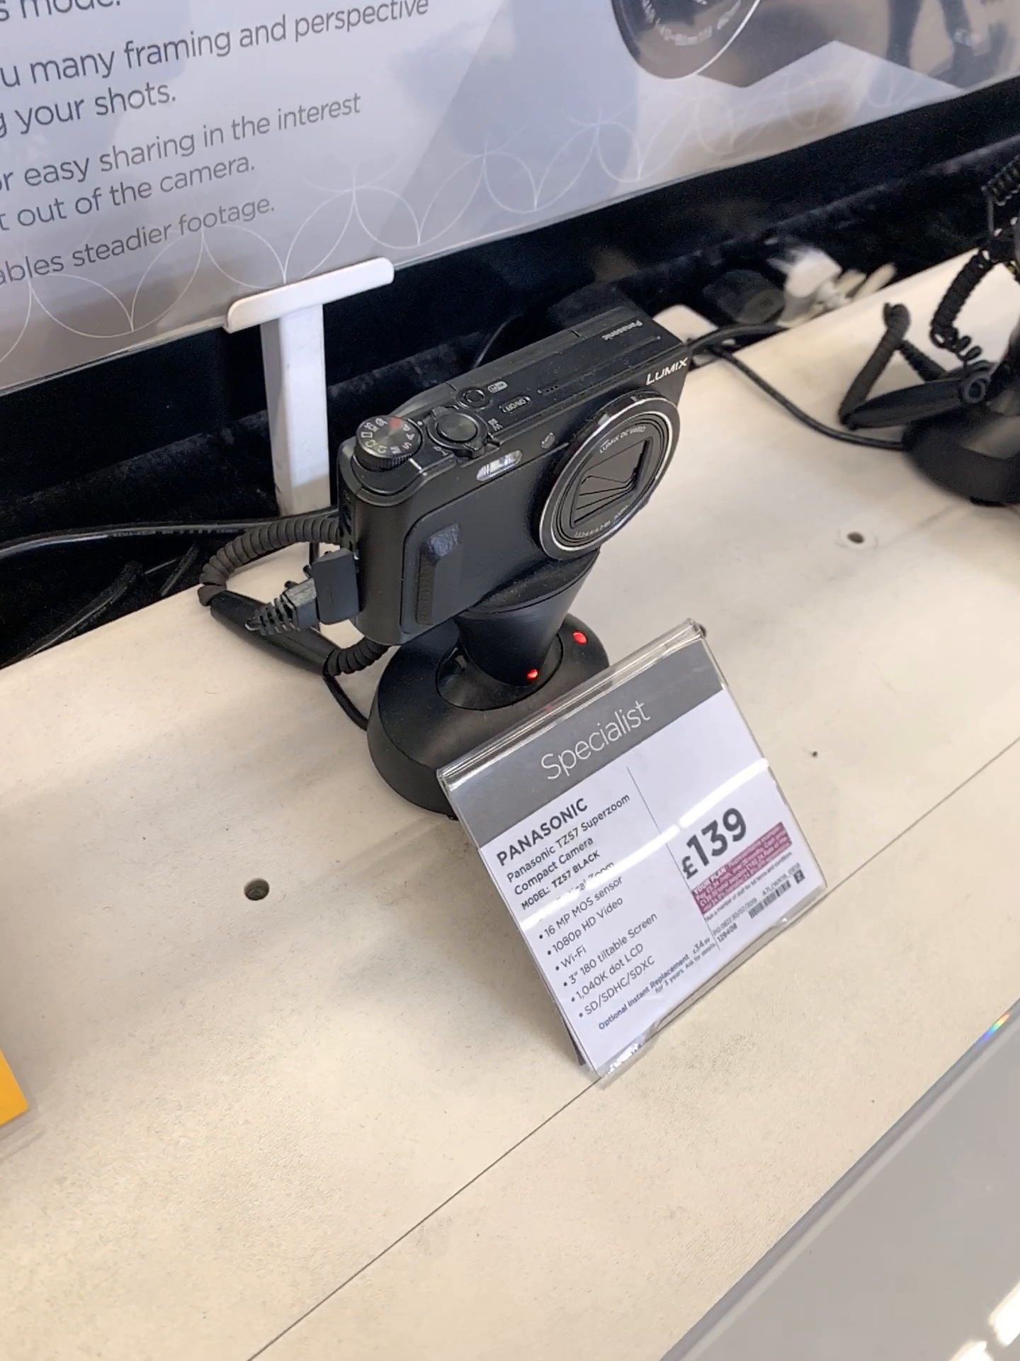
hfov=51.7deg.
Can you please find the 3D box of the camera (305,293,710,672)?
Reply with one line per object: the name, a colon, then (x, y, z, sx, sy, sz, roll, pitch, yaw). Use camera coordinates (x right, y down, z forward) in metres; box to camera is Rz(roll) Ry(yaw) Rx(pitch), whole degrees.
camera: (0.000, -0.056, 0.290, 0.111, 0.060, 0.030, -32, 63, -28)
